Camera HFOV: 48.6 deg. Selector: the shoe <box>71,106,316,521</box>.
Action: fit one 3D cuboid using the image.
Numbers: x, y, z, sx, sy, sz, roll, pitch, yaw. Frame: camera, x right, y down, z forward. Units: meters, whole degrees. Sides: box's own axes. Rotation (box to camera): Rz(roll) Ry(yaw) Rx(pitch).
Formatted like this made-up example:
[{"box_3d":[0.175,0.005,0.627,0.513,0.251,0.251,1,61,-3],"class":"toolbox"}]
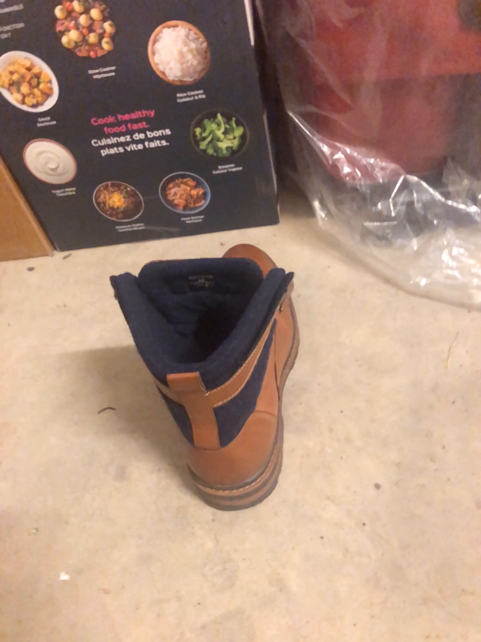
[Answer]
[{"box_3d":[-0.009,-0.011,0.474,0.132,0.201,0.304,-3,50,9],"class":"shoe"}]
